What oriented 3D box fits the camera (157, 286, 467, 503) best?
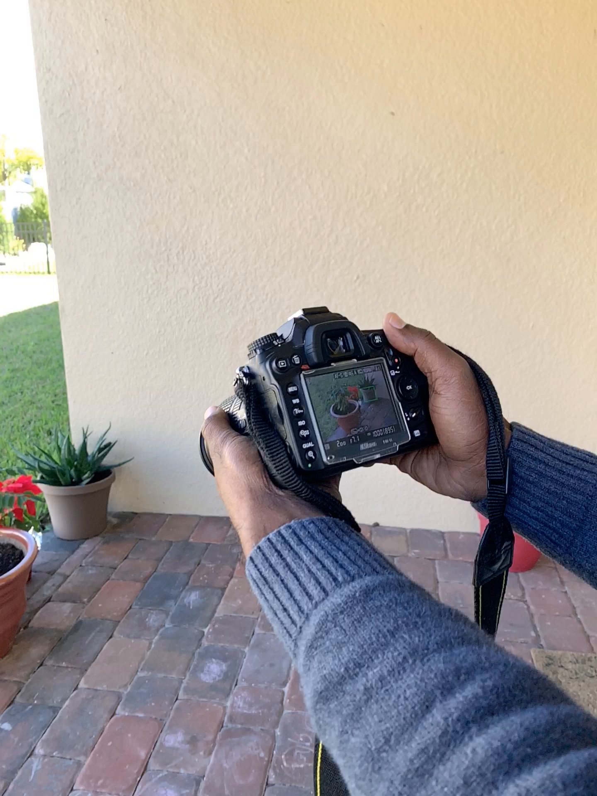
[{"bbox_3d":[-0.003,0.004,0.470,0.130,0.101,0.199,-11,-8,-33],"label":"camera"}]
